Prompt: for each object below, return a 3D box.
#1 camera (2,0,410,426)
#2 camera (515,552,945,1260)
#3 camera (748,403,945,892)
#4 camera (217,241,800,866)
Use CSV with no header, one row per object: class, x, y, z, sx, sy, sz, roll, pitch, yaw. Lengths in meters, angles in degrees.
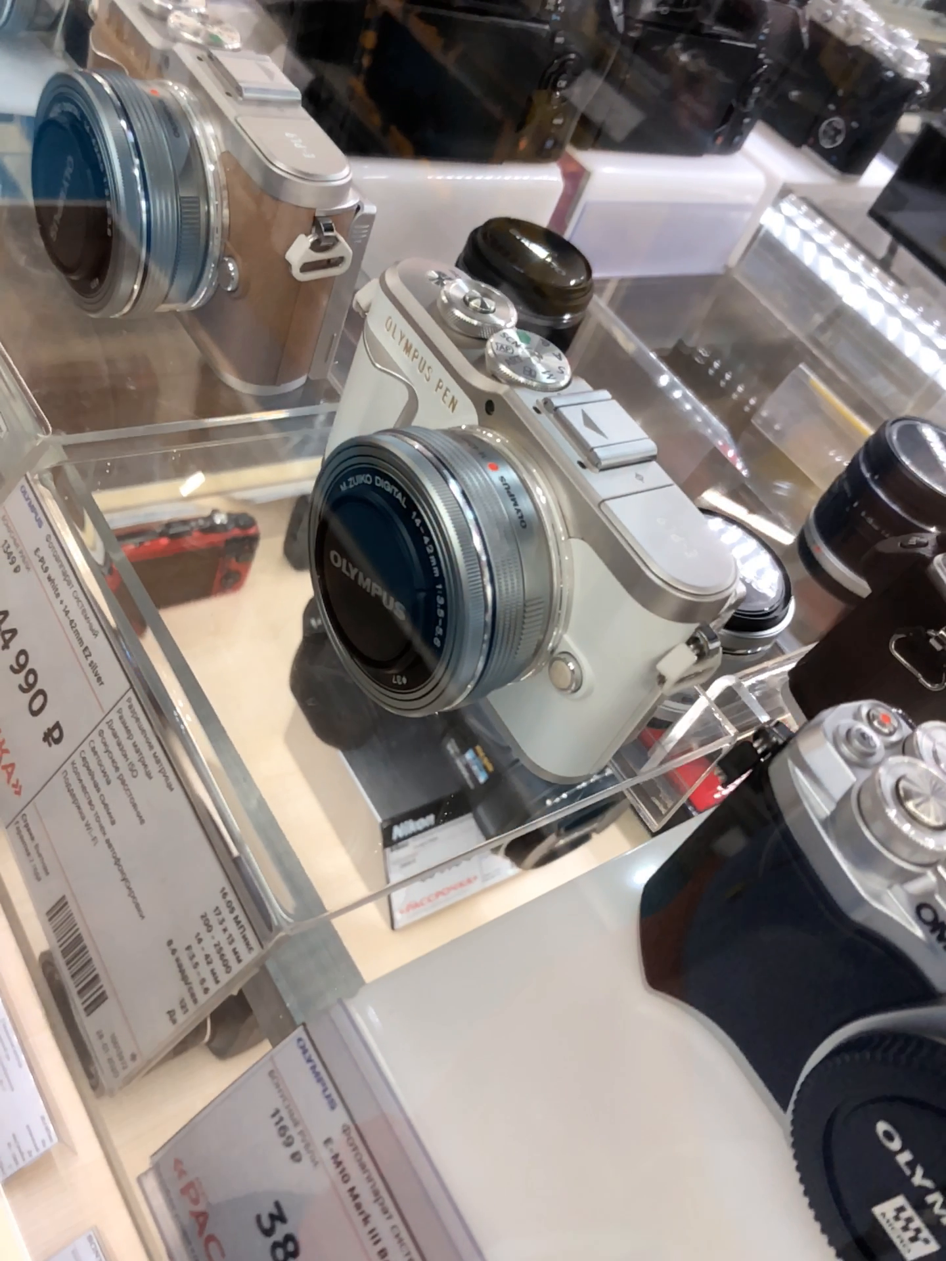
camera,-0.075,-0.114,0.277,0.061,0.072,0.087,-18,59,-37
camera,0.071,0.058,0.162,0.053,0.072,0.114,-18,59,-37
camera,0.148,-0.001,0.271,0.115,0.072,0.072,-17,58,-37
camera,-0.001,-0.022,0.233,0.053,0.070,0.114,-18,59,-37
